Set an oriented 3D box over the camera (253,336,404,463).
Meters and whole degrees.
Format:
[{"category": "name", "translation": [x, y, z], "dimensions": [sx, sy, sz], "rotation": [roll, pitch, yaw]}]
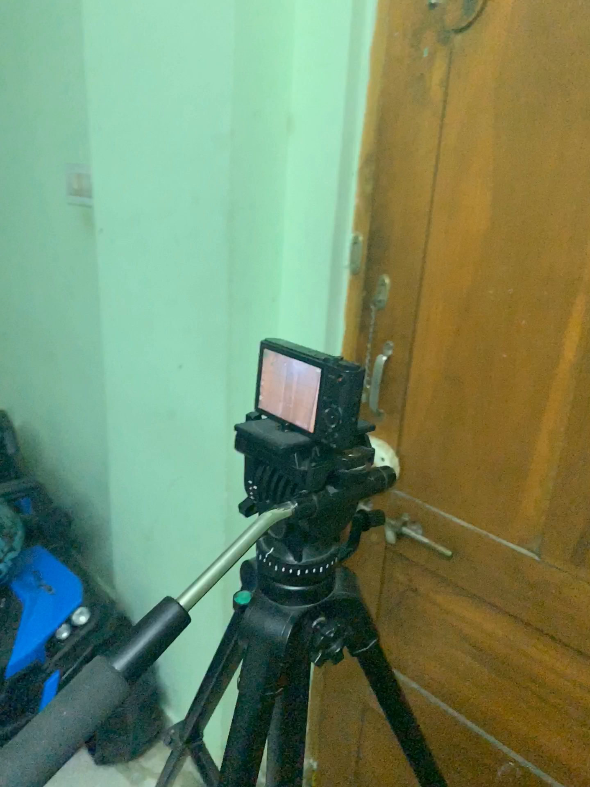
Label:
[{"category": "camera", "translation": [0.021, 0.000, 0.435], "dimensions": [0.040, 0.060, 0.100], "rotation": [-7, 22, -43]}]
